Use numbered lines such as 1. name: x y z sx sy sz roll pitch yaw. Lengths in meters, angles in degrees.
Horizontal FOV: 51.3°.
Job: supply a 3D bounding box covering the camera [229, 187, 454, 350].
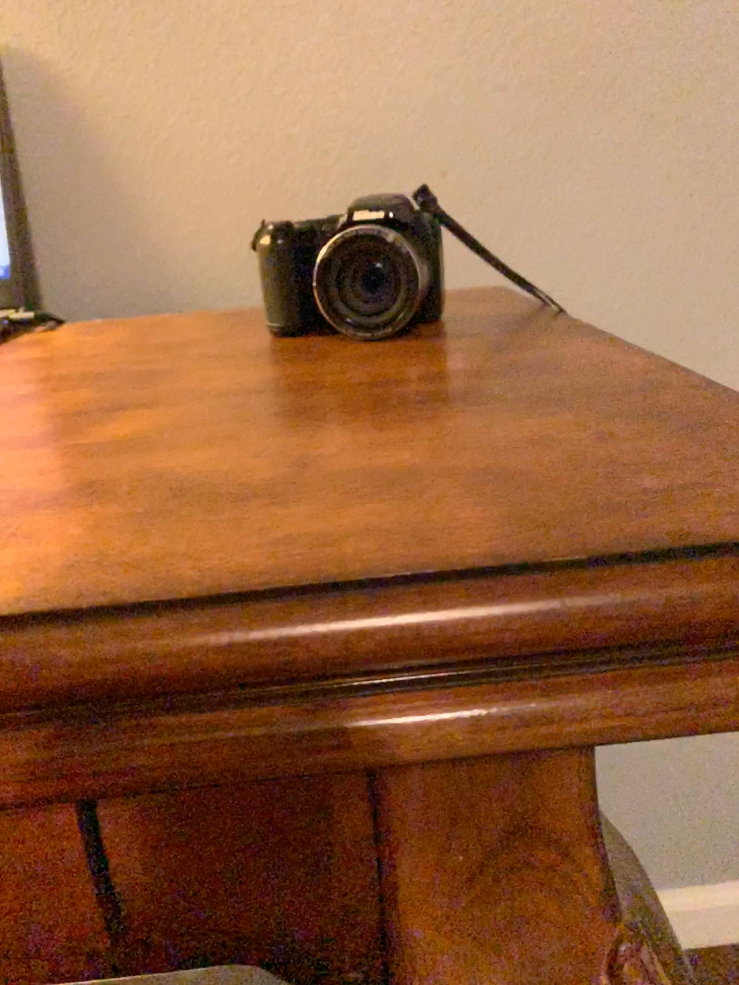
1. camera: -0.009 -0.145 0.491 0.110 0.081 0.123 0 20 13
